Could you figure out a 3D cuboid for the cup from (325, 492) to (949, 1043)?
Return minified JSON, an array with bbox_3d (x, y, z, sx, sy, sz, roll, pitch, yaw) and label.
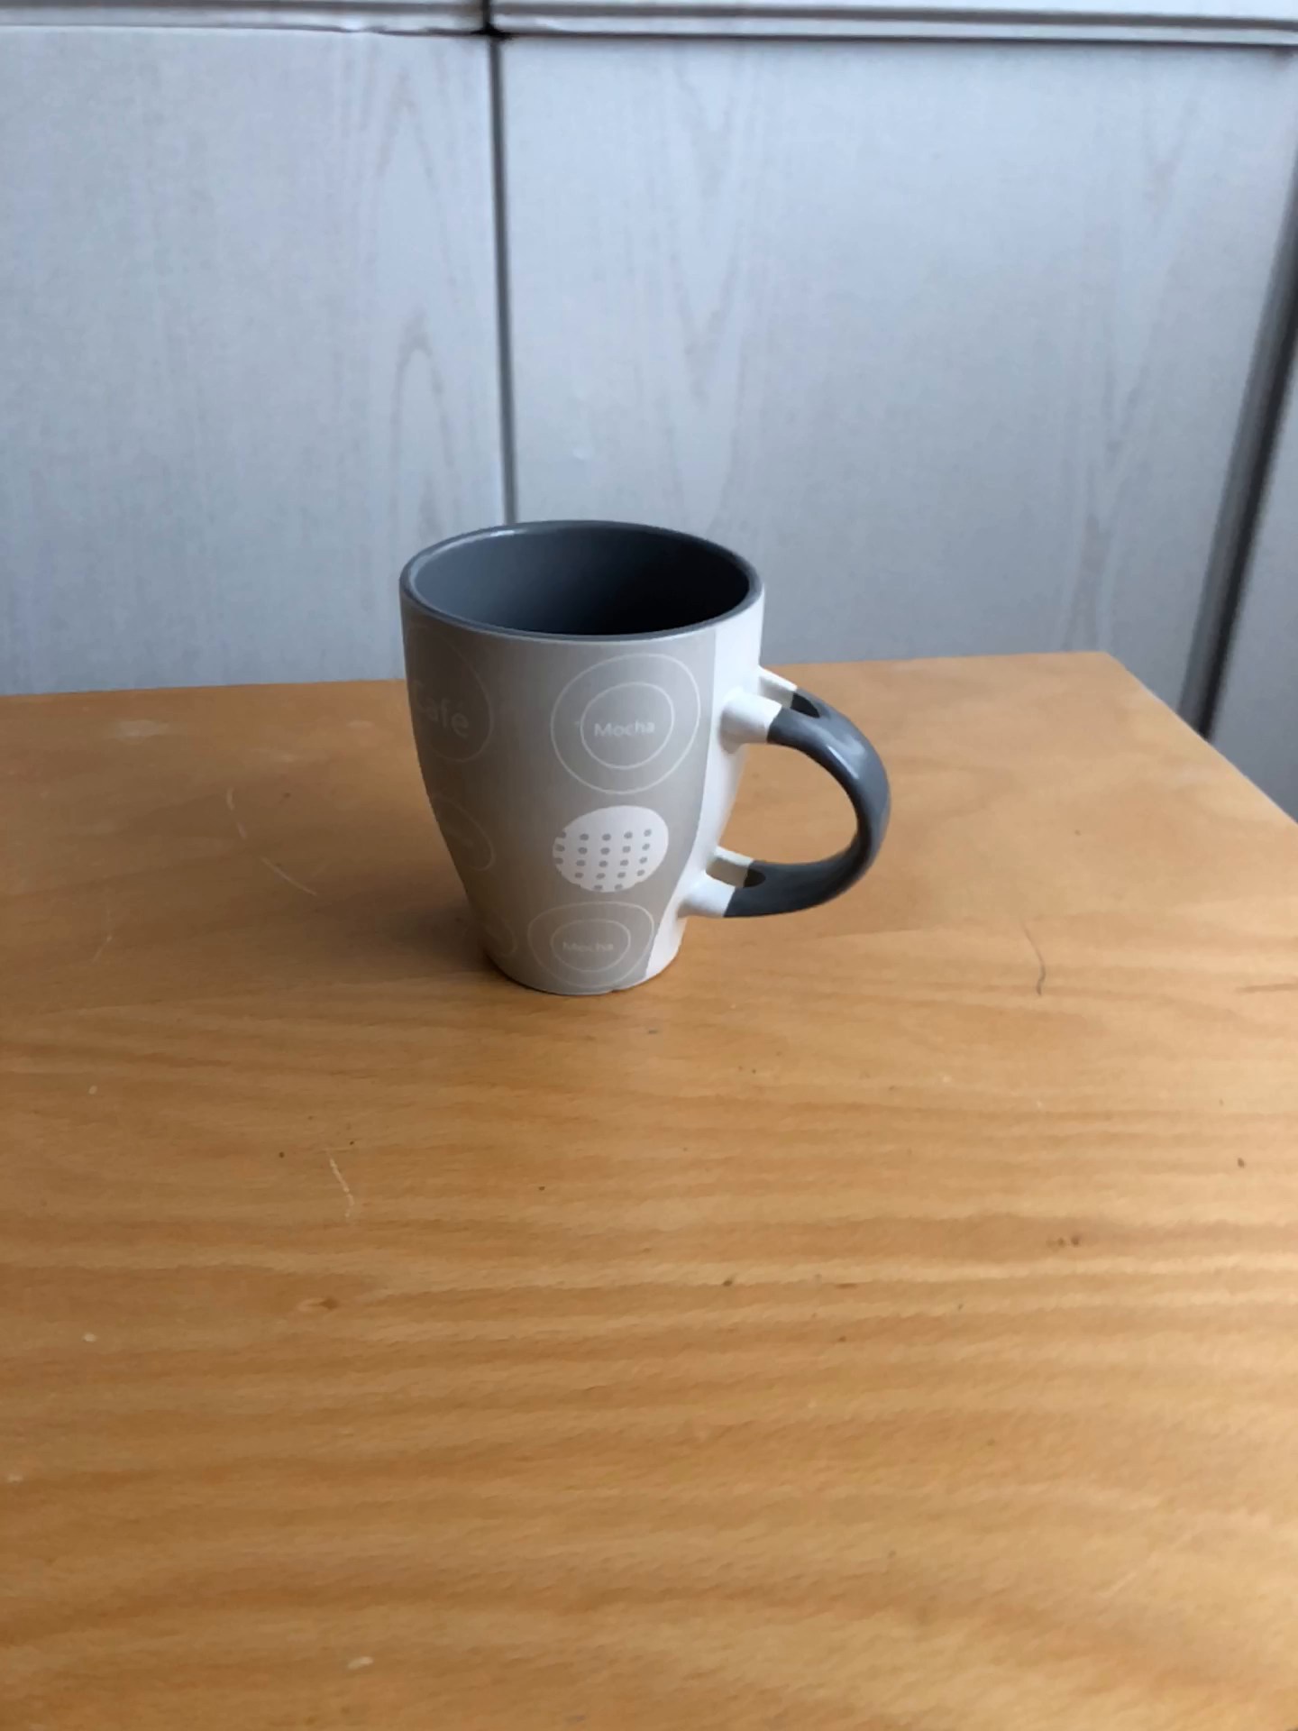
[{"bbox_3d":[0.002,-0.029,0.350,0.126,0.093,0.085,7,30,11],"label":"cup"}]
